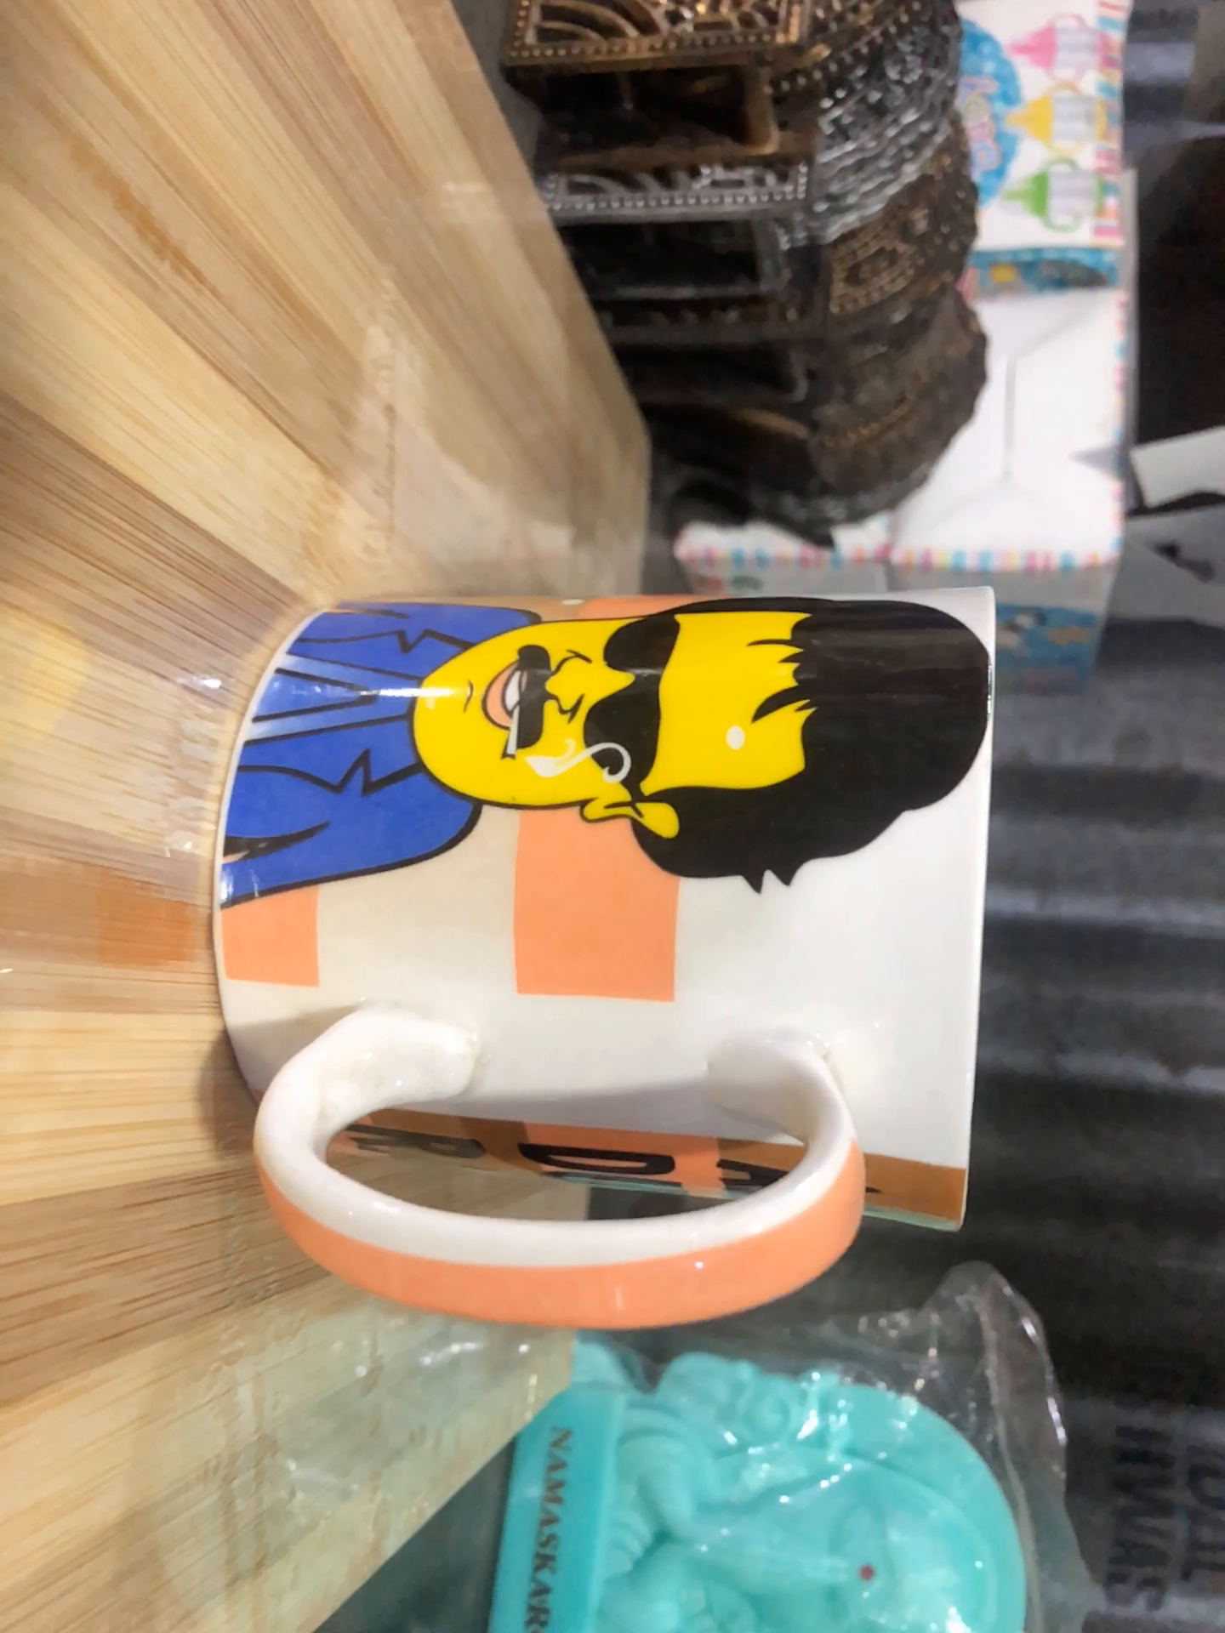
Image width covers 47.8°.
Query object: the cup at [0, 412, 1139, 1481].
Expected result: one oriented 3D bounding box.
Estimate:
[{"bbox_3d":[0.006,0.002,0.168,0.110,0.090,0.070,-69,159,-55],"label":"cup"}]
